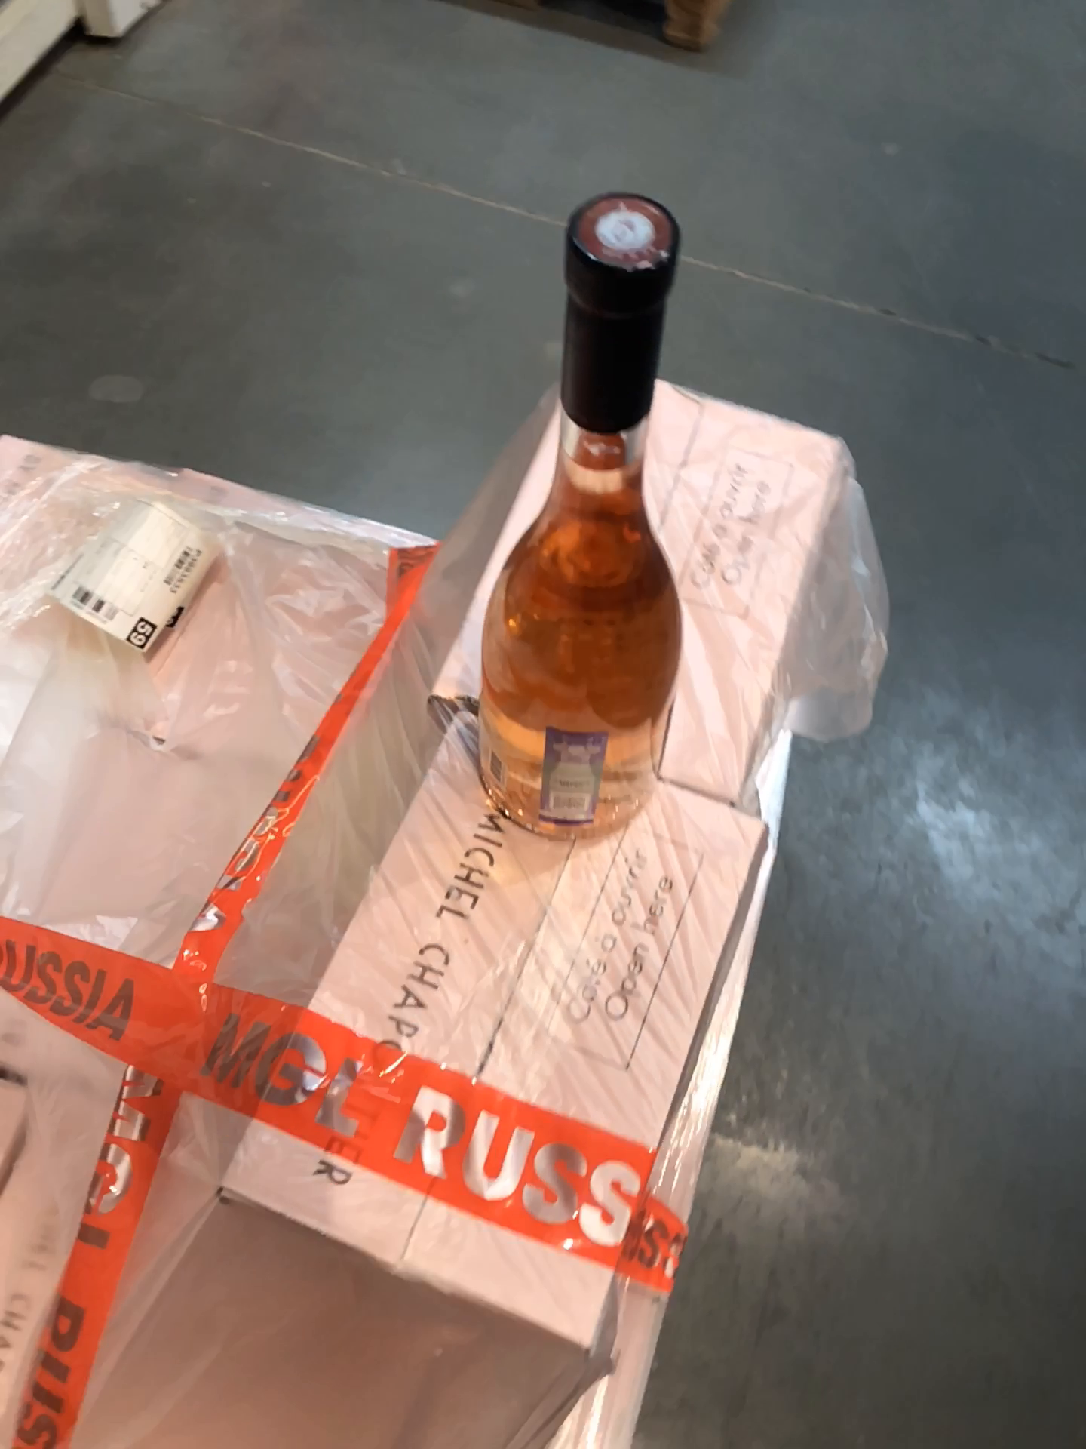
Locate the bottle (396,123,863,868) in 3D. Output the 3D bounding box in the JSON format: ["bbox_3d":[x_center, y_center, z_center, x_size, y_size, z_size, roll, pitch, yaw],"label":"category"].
[{"bbox_3d":[0.016,-0.056,0.445,0.096,0.279,0.100,1,62,-2],"label":"bottle"}]
